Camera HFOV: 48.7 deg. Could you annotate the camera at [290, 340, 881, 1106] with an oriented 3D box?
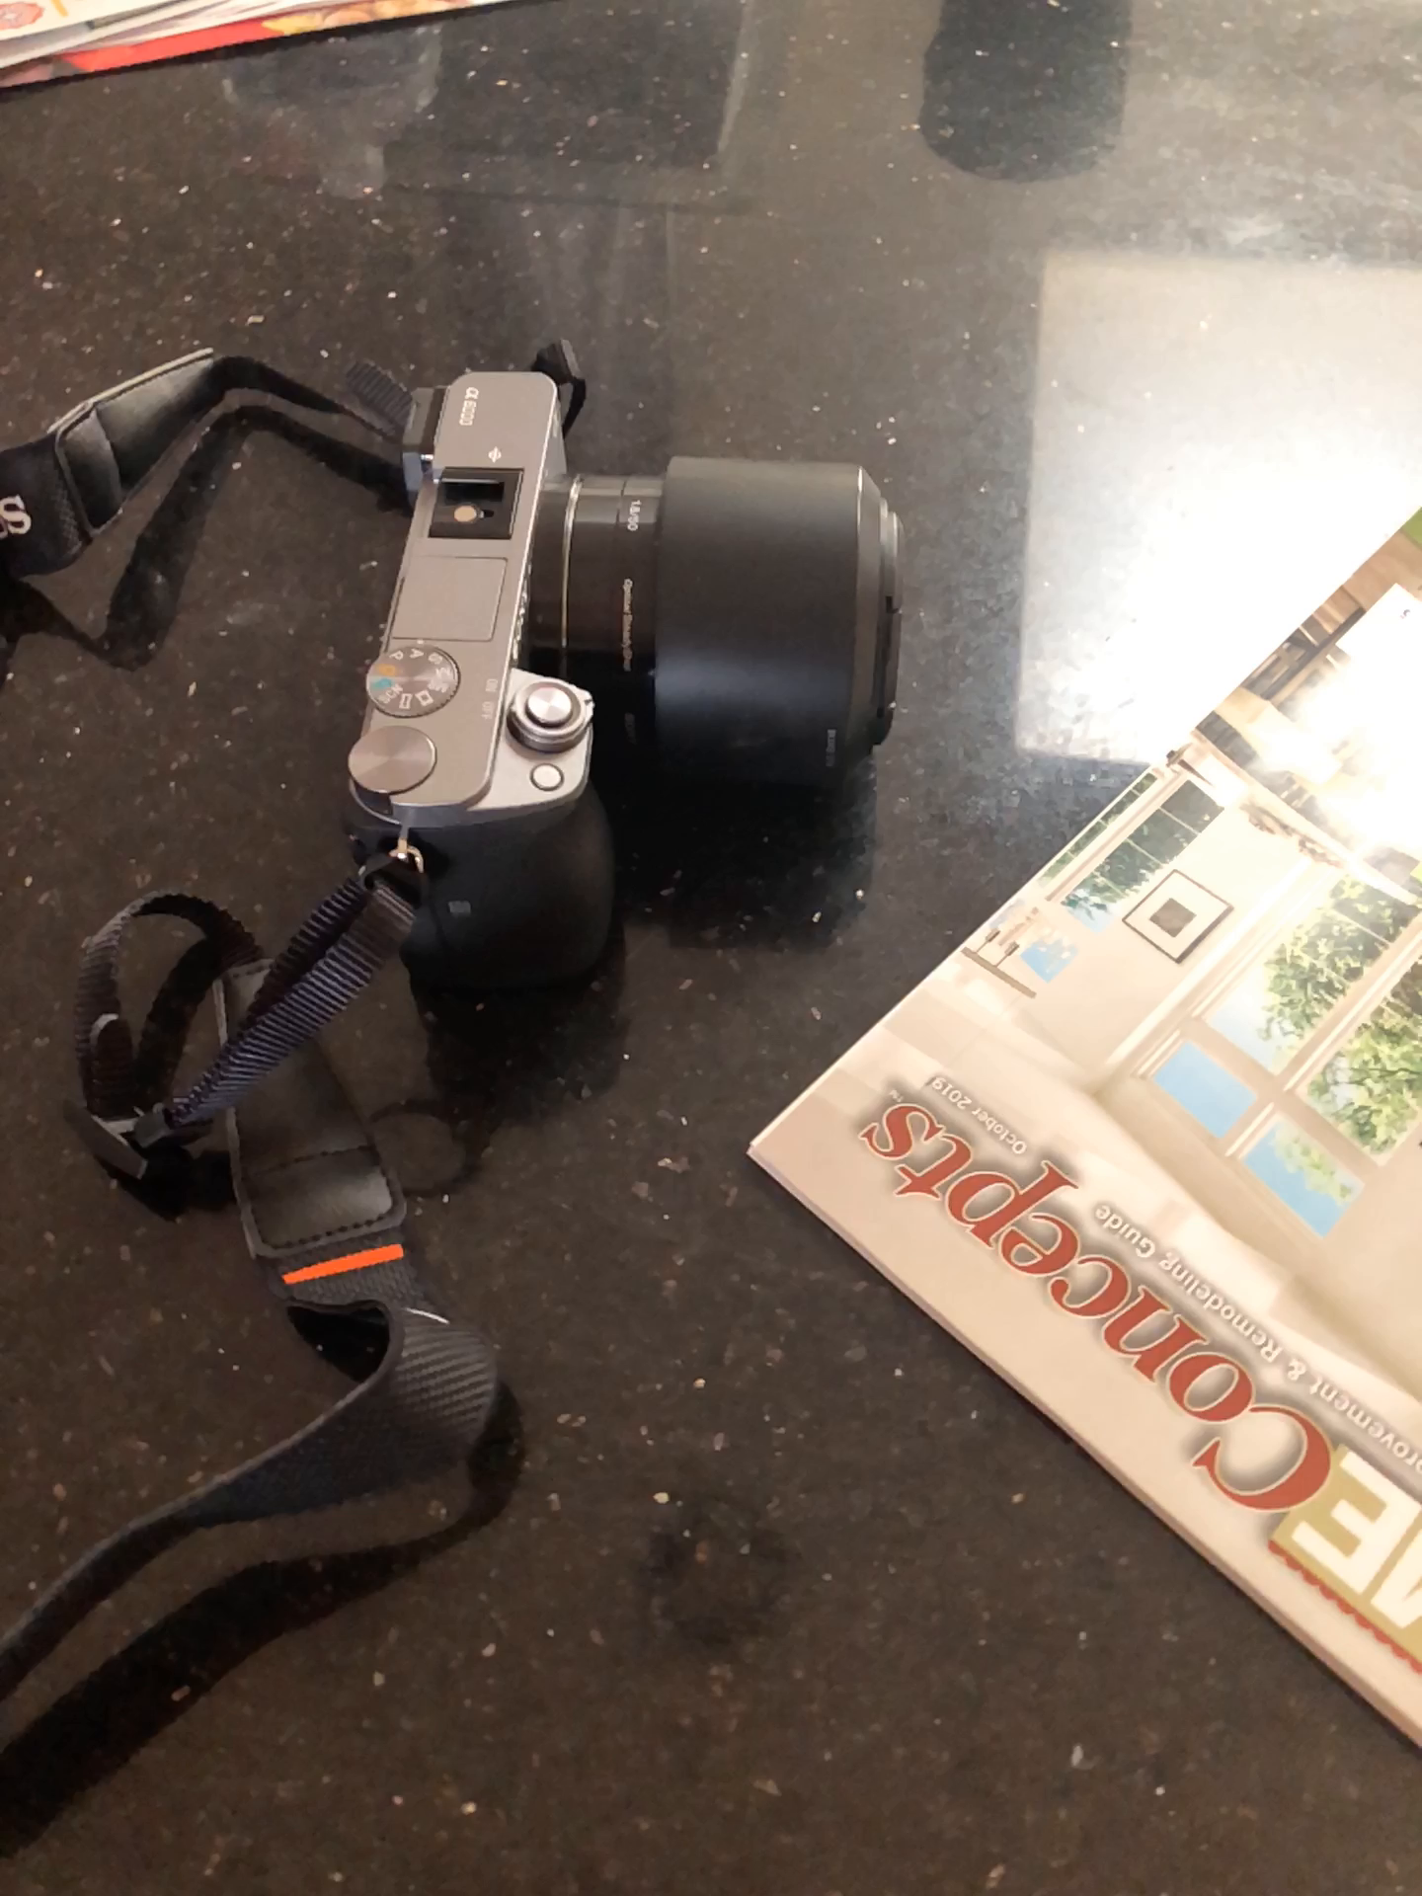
[{"bbox_3d":[-0.018,-0.048,0.345,0.099,0.100,0.127,4,58,3],"label":"camera"}]
